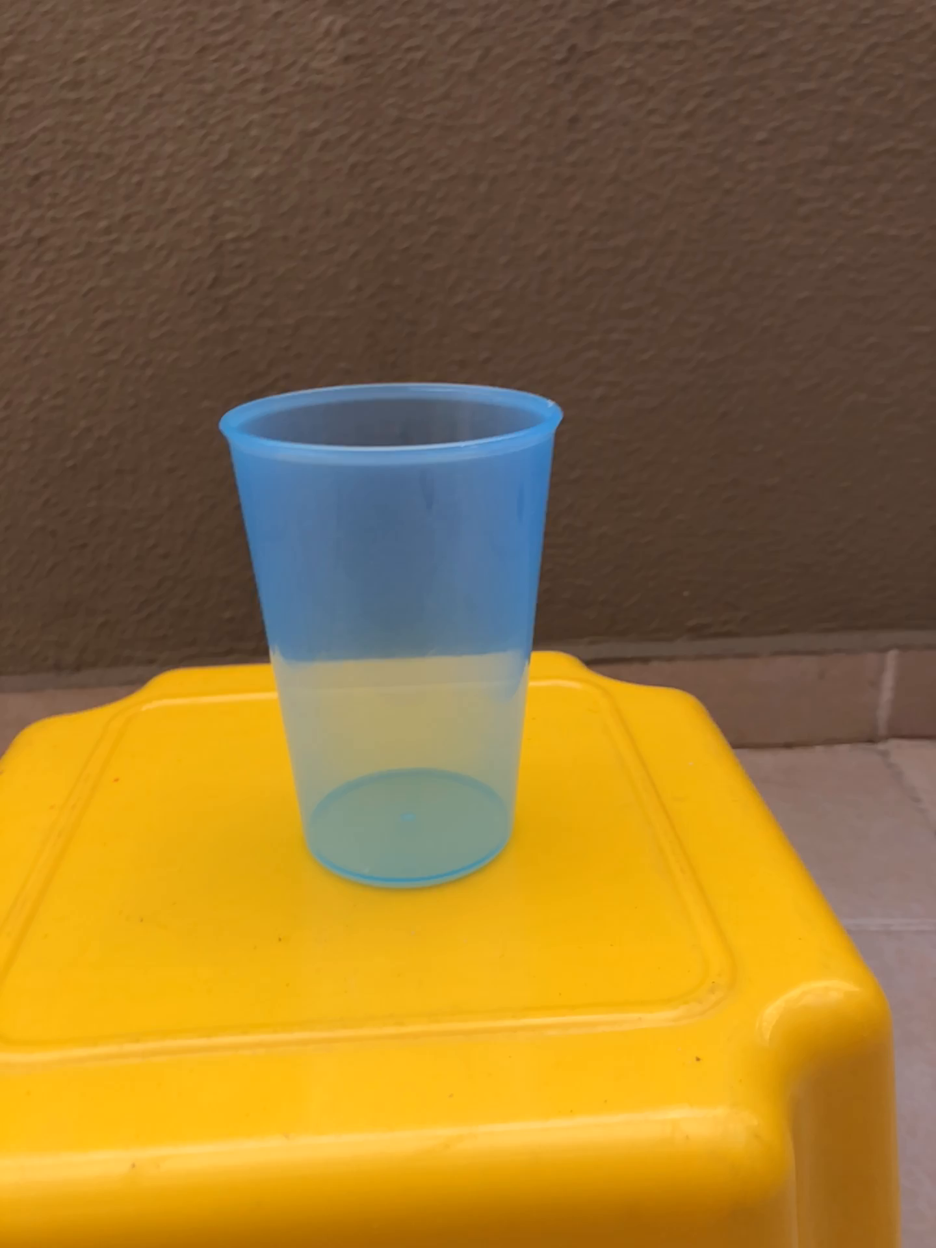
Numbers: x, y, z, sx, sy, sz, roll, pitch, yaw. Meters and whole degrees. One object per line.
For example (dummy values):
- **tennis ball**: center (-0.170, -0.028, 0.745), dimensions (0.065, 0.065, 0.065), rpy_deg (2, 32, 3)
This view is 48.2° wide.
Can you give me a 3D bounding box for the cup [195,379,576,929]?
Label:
- **cup**: center (-0.019, 0.001, 0.246), dimensions (0.070, 0.099, 0.080), rpy_deg (-5, 21, -8)
